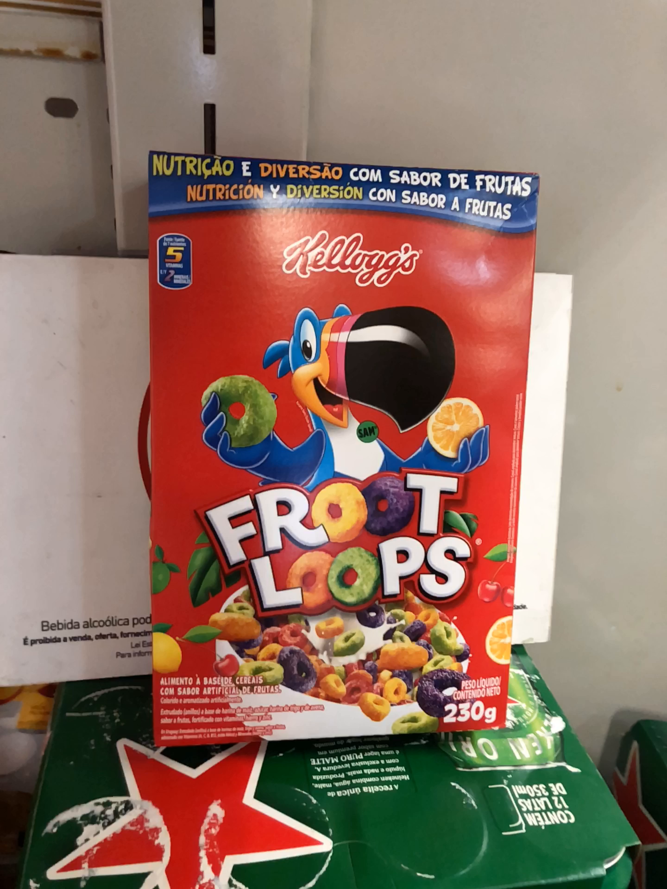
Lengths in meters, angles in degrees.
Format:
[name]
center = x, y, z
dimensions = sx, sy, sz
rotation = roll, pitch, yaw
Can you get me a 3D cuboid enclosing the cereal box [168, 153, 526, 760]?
[cereal box]
center = 0.002, 0.007, 0.353
dimensions = 0.150, 0.259, 0.060
rotation = 0, 8, -8
